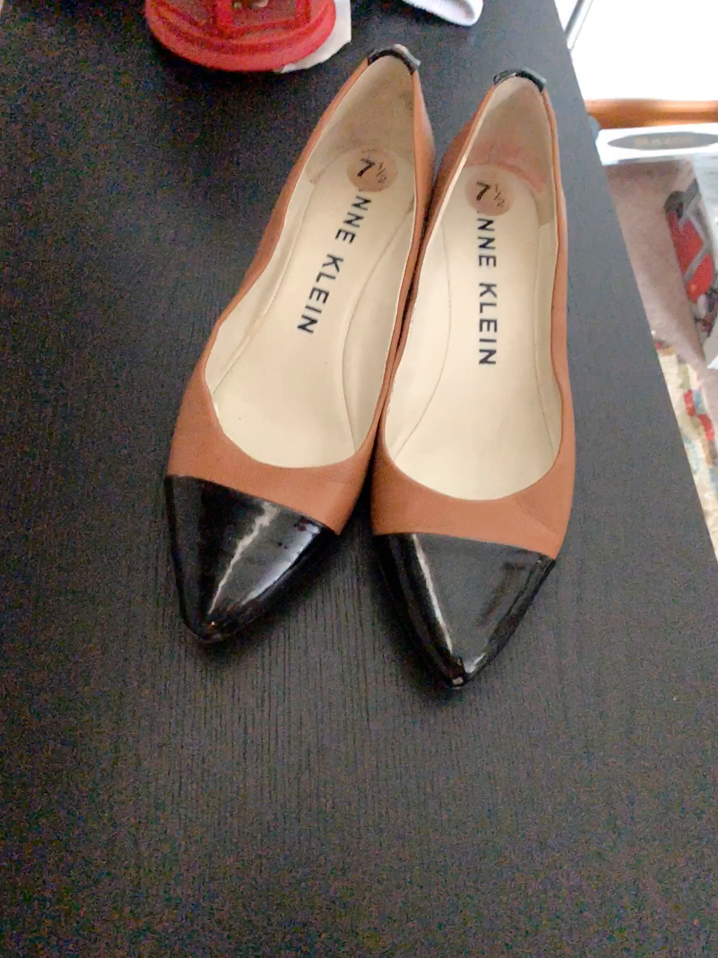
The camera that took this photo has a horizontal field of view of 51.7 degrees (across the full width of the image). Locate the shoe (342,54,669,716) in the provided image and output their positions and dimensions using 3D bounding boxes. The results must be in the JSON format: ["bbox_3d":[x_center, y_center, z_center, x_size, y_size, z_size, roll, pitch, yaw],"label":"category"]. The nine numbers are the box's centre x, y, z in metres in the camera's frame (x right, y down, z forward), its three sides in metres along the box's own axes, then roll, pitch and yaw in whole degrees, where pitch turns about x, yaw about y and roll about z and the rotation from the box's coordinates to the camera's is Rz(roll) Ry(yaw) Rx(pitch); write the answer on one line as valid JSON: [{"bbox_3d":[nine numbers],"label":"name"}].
[{"bbox_3d":[0.056,-0.047,0.317,0.092,0.099,0.261,7,63,0],"label":"shoe"}]

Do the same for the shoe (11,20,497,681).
[{"bbox_3d":[-0.023,-0.065,0.307,0.092,0.080,0.261,16,64,5],"label":"shoe"}]
